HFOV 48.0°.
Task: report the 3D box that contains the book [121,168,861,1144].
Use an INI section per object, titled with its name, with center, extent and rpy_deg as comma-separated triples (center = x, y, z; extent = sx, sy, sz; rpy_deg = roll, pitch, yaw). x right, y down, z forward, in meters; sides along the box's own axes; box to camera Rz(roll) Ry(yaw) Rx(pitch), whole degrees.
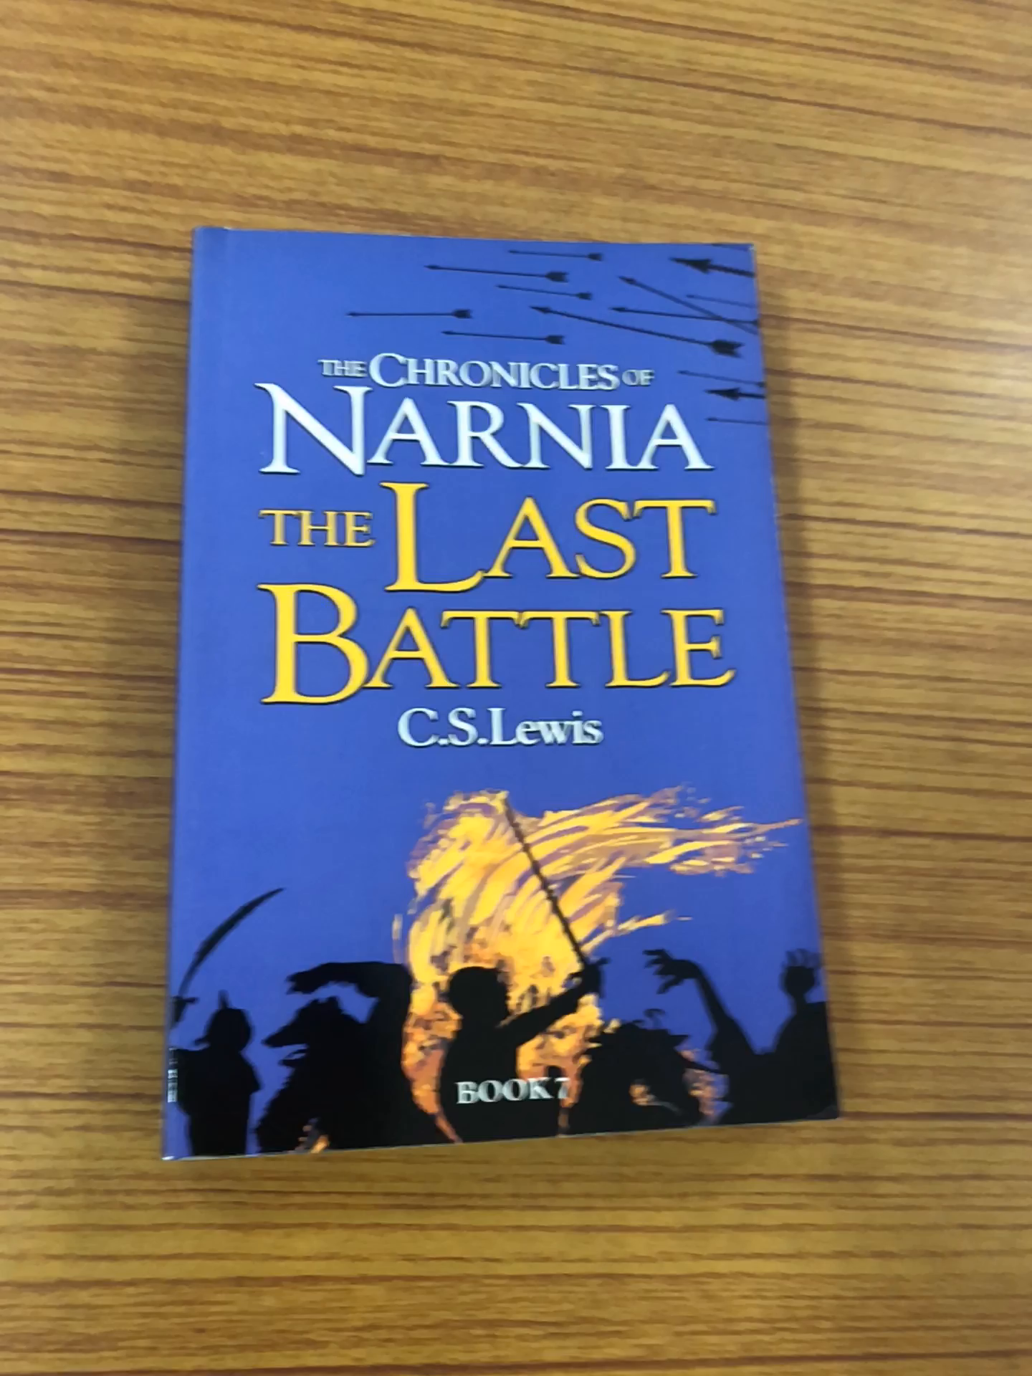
[book]
center = -0.007, -0.013, 0.255
extent = 0.140, 0.030, 0.200
rpy_deg = 0, 77, -9
